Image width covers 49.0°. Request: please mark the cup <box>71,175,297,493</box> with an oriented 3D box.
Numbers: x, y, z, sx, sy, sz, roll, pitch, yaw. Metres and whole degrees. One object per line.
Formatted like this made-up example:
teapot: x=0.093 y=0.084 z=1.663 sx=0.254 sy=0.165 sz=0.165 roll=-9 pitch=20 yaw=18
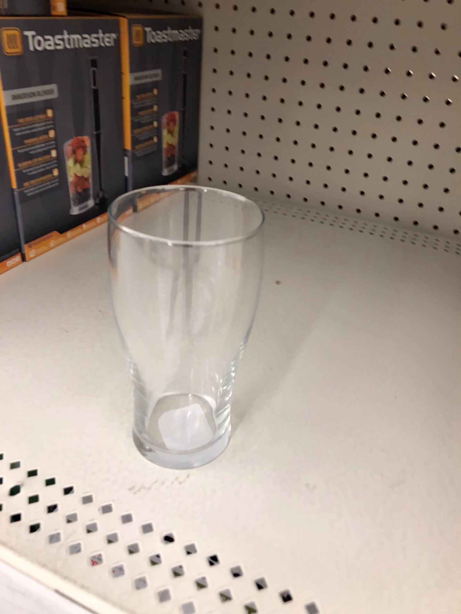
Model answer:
cup: x=-0.025 y=0.011 z=0.283 sx=0.077 sy=0.138 sz=0.081 roll=3 pitch=31 yaw=-2
